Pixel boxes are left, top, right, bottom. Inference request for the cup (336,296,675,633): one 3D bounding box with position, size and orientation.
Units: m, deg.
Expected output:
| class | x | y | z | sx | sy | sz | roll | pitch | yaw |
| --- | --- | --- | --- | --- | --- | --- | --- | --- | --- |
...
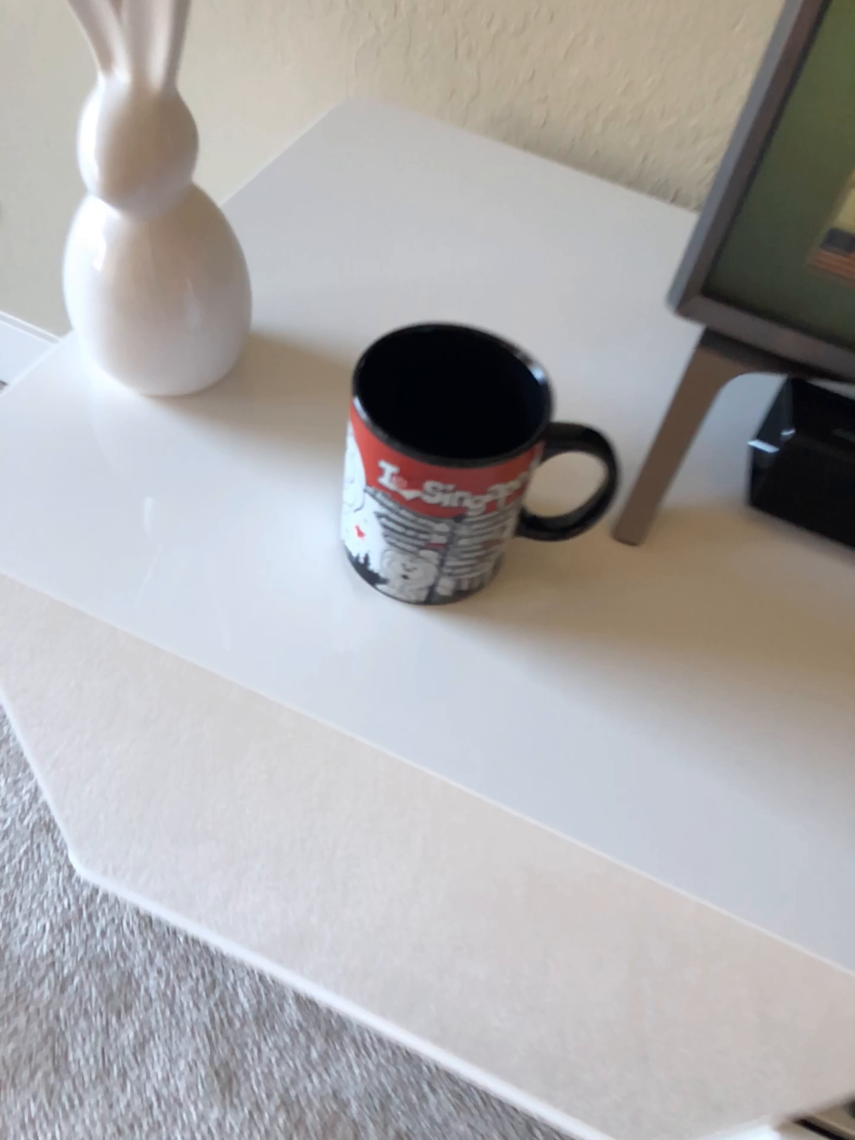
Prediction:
| class | x | y | z | sx | sy | sz | roll | pitch | yaw |
| --- | --- | --- | --- | --- | --- | --- | --- | --- | --- |
| cup | 0.027 | -0.042 | 0.415 | 0.120 | 0.110 | 0.080 | 6 | 52 | -5 |
